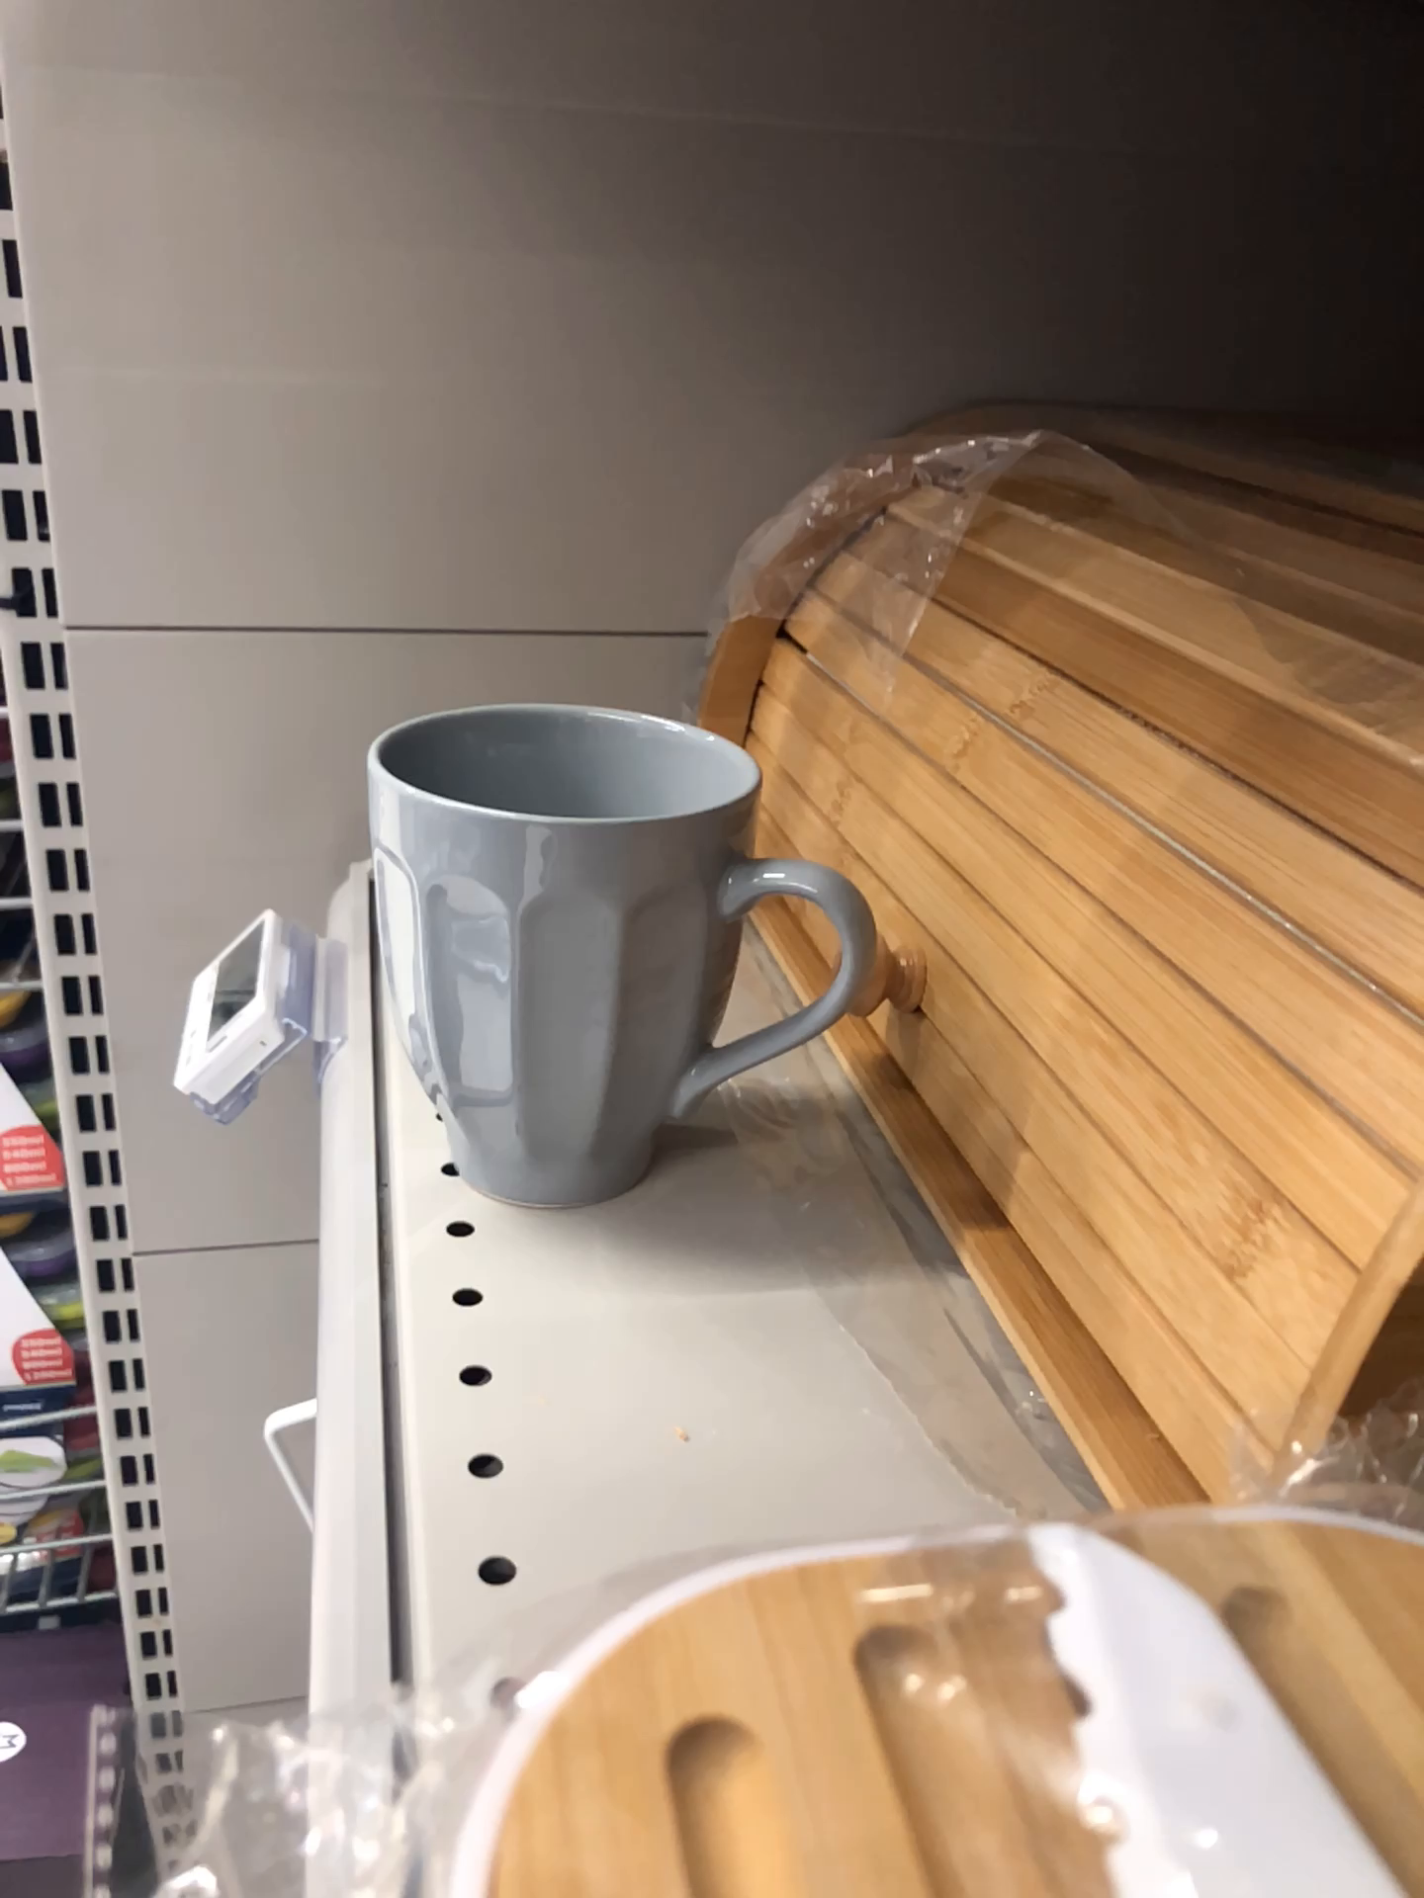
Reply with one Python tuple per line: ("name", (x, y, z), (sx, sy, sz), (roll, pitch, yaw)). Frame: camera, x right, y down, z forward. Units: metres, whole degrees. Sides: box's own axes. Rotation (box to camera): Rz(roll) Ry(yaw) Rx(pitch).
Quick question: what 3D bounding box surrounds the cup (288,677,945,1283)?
("cup", (-0.019, -0.001, 0.365), (0.116, 0.091, 0.093), (12, 25, 19))
